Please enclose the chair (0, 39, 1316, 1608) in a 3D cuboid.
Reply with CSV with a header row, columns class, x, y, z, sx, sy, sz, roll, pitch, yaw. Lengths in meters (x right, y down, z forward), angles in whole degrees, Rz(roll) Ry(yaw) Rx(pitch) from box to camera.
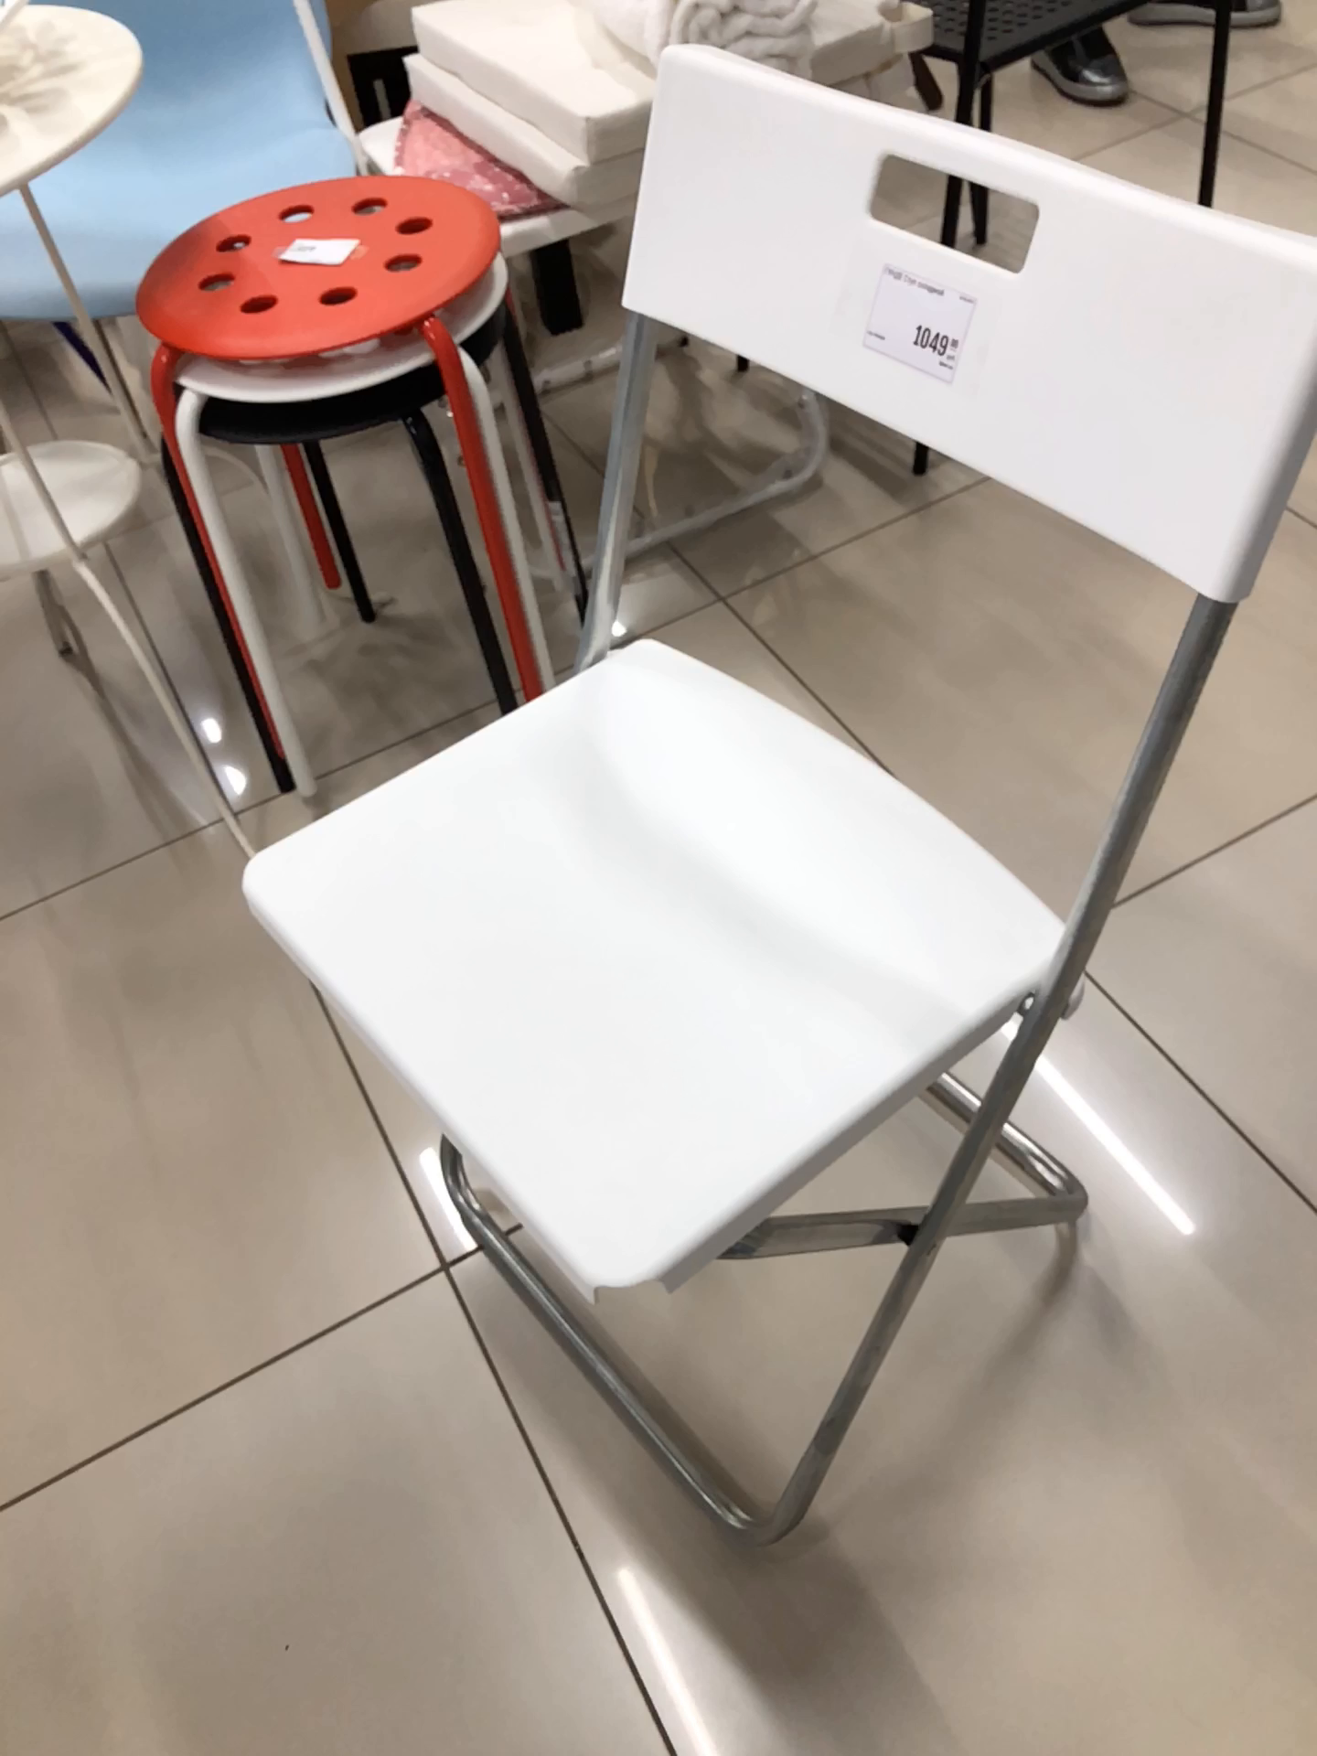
class,x,y,z,sx,sy,sz,roll,pitch,yaw
chair,0.032,0.005,0.857,0.431,0.711,0.427,-35,52,-20
